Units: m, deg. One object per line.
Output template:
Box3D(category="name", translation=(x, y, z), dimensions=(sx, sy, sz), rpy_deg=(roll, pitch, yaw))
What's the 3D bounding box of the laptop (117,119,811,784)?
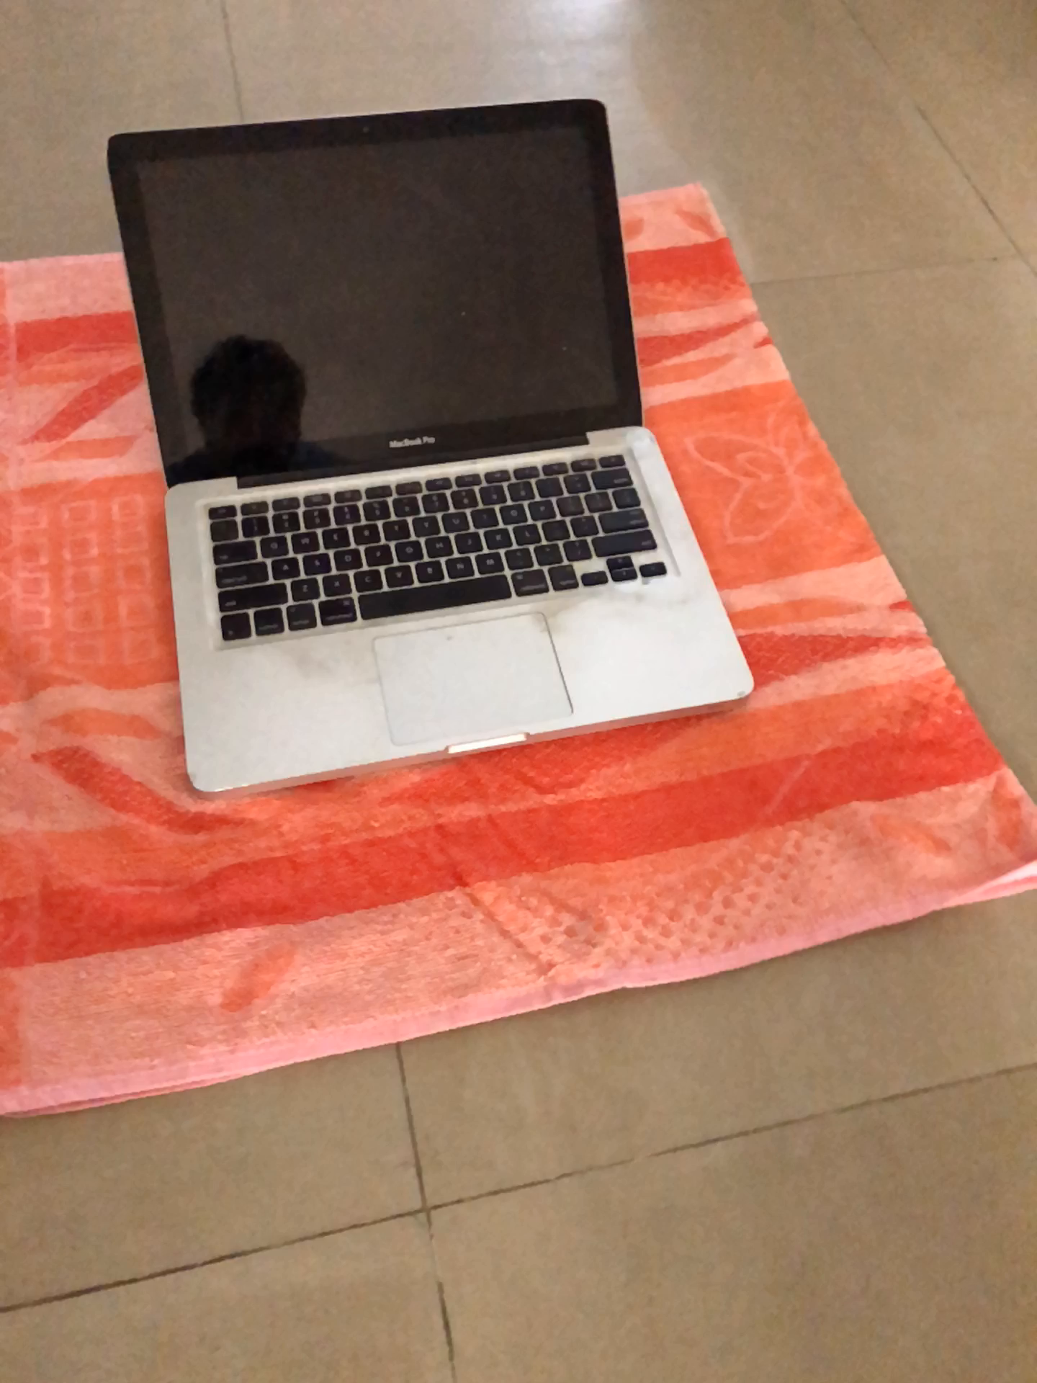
Box3D(category="laptop", translation=(-0.055, -0.164, 0.676), dimensions=(0.309, 0.133, 0.374), rpy_deg=(-9, 57, -10))
